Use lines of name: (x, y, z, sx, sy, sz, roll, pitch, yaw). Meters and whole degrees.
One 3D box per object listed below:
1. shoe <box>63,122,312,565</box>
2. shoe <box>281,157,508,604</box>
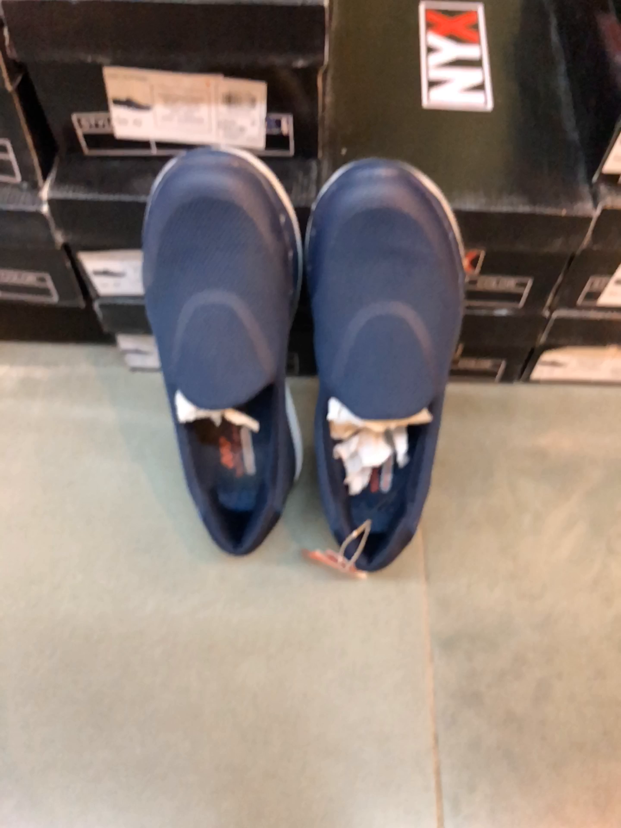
shoe: (-0.061, -0.036, 0.464, 0.109, 0.273, 0.110, 0, 35, 3)
shoe: (0.044, -0.011, 0.447, 0.107, 0.272, 0.099, 0, 34, 2)
